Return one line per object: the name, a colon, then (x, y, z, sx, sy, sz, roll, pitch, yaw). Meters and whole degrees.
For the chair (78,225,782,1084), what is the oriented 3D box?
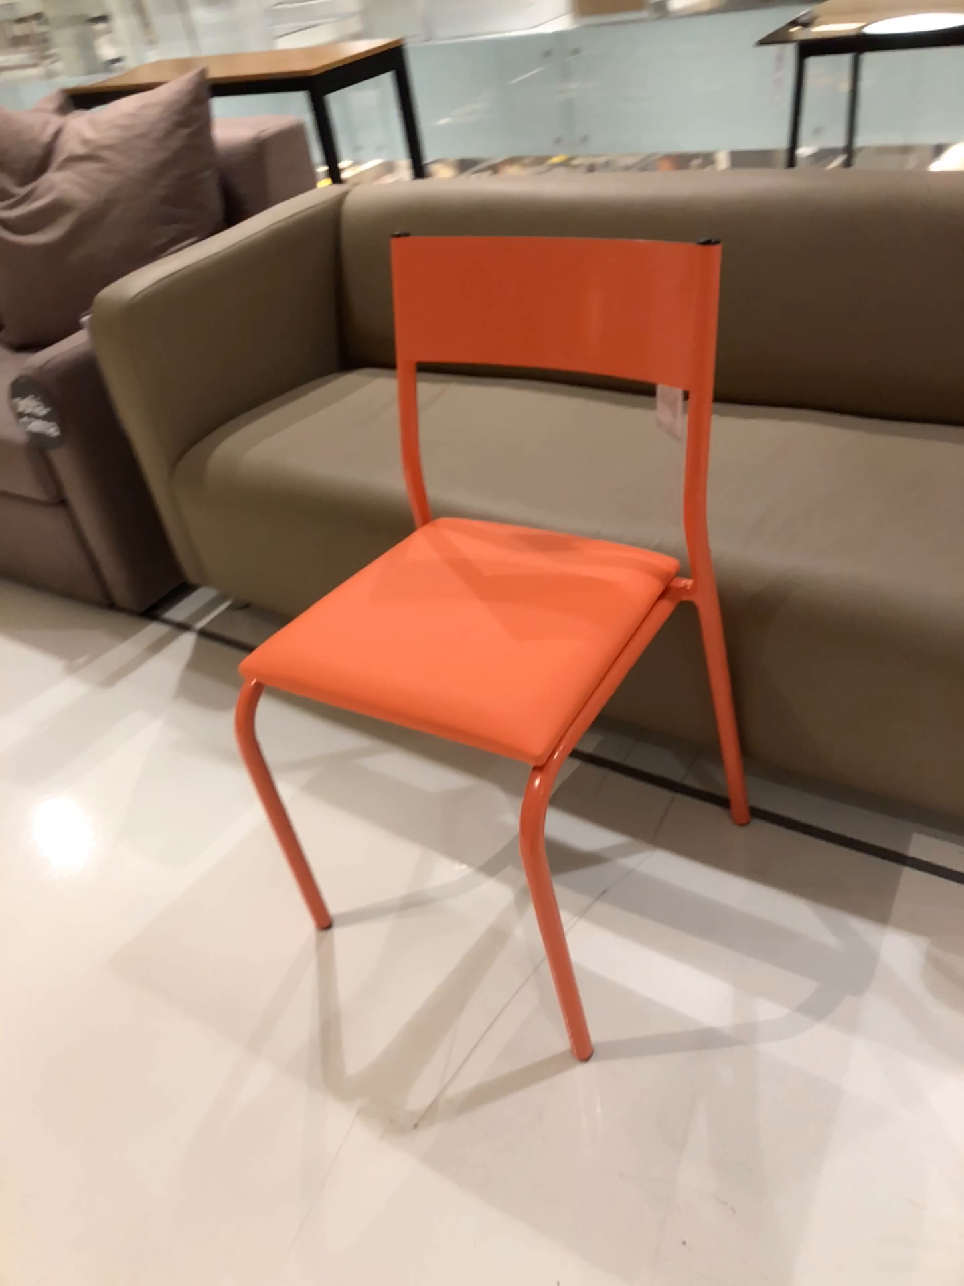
chair: (0.016, -0.013, 1.260, 0.501, 0.784, 0.492, 15, 43, 33)
